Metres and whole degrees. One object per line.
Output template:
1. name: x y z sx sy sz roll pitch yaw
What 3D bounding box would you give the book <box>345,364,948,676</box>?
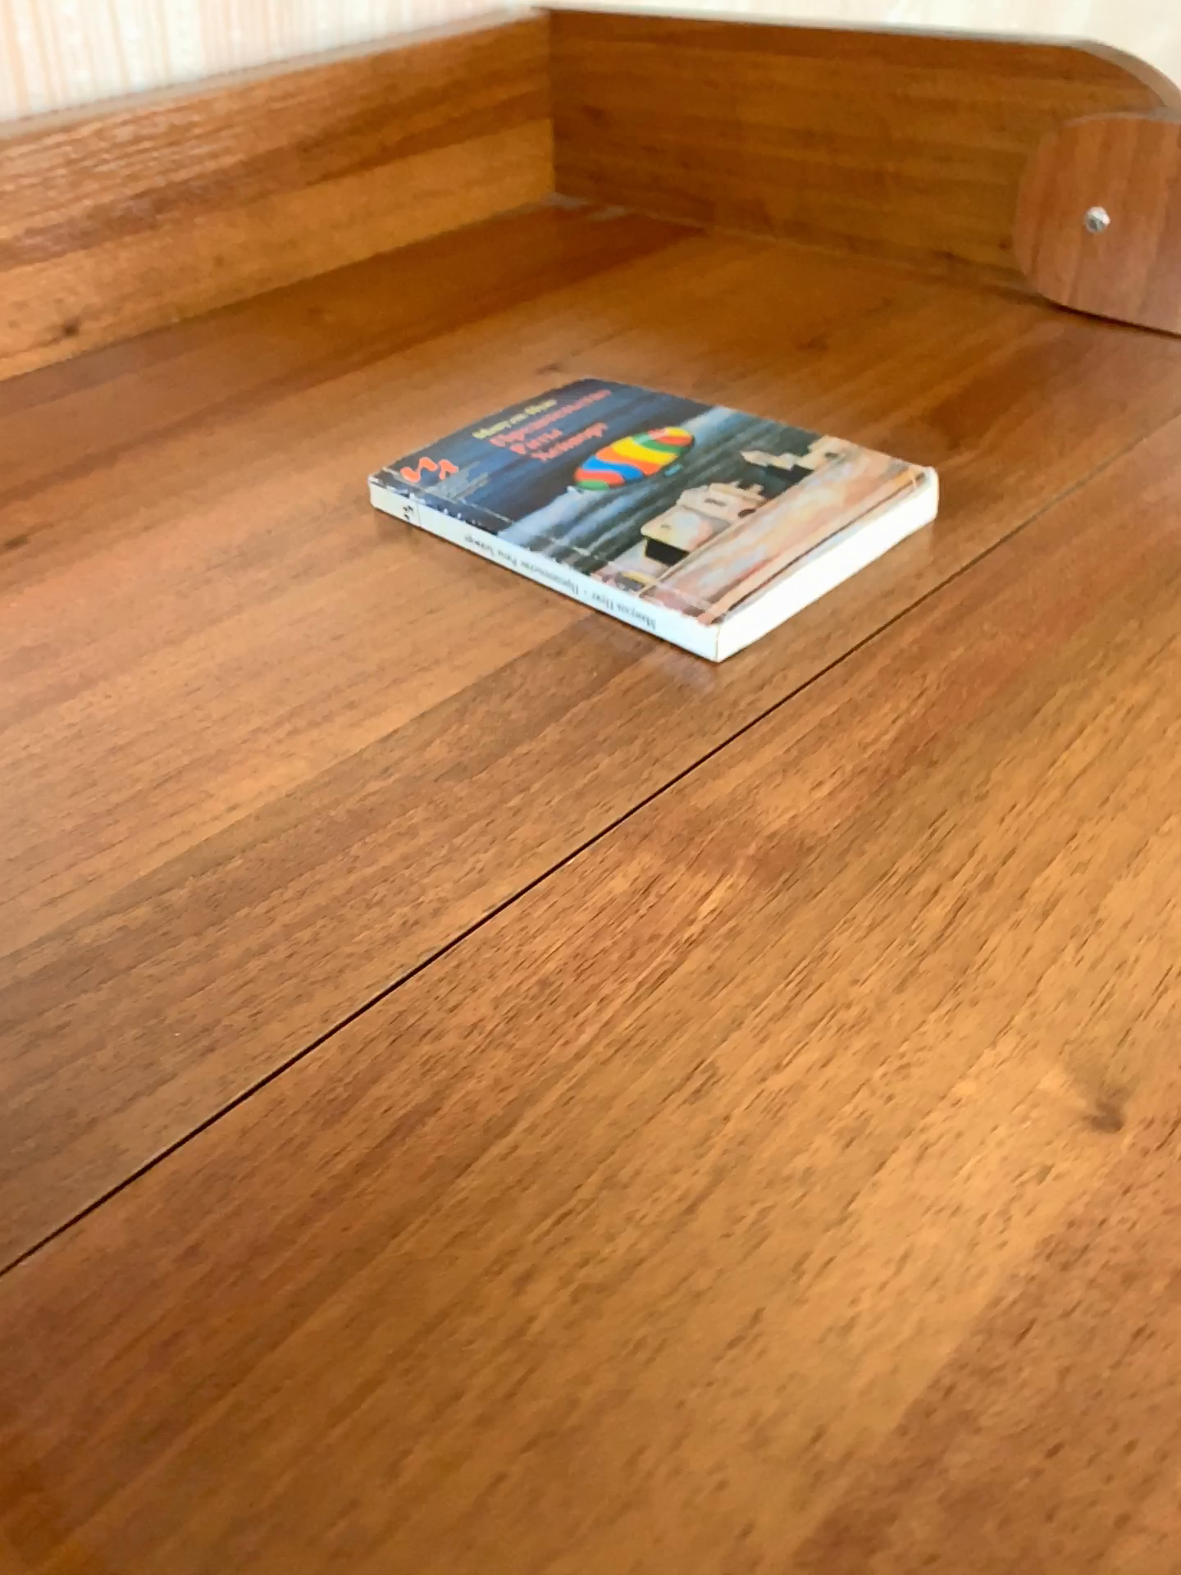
1. book: 0.016 -0.098 0.407 0.158 0.016 0.121 29 49 34
